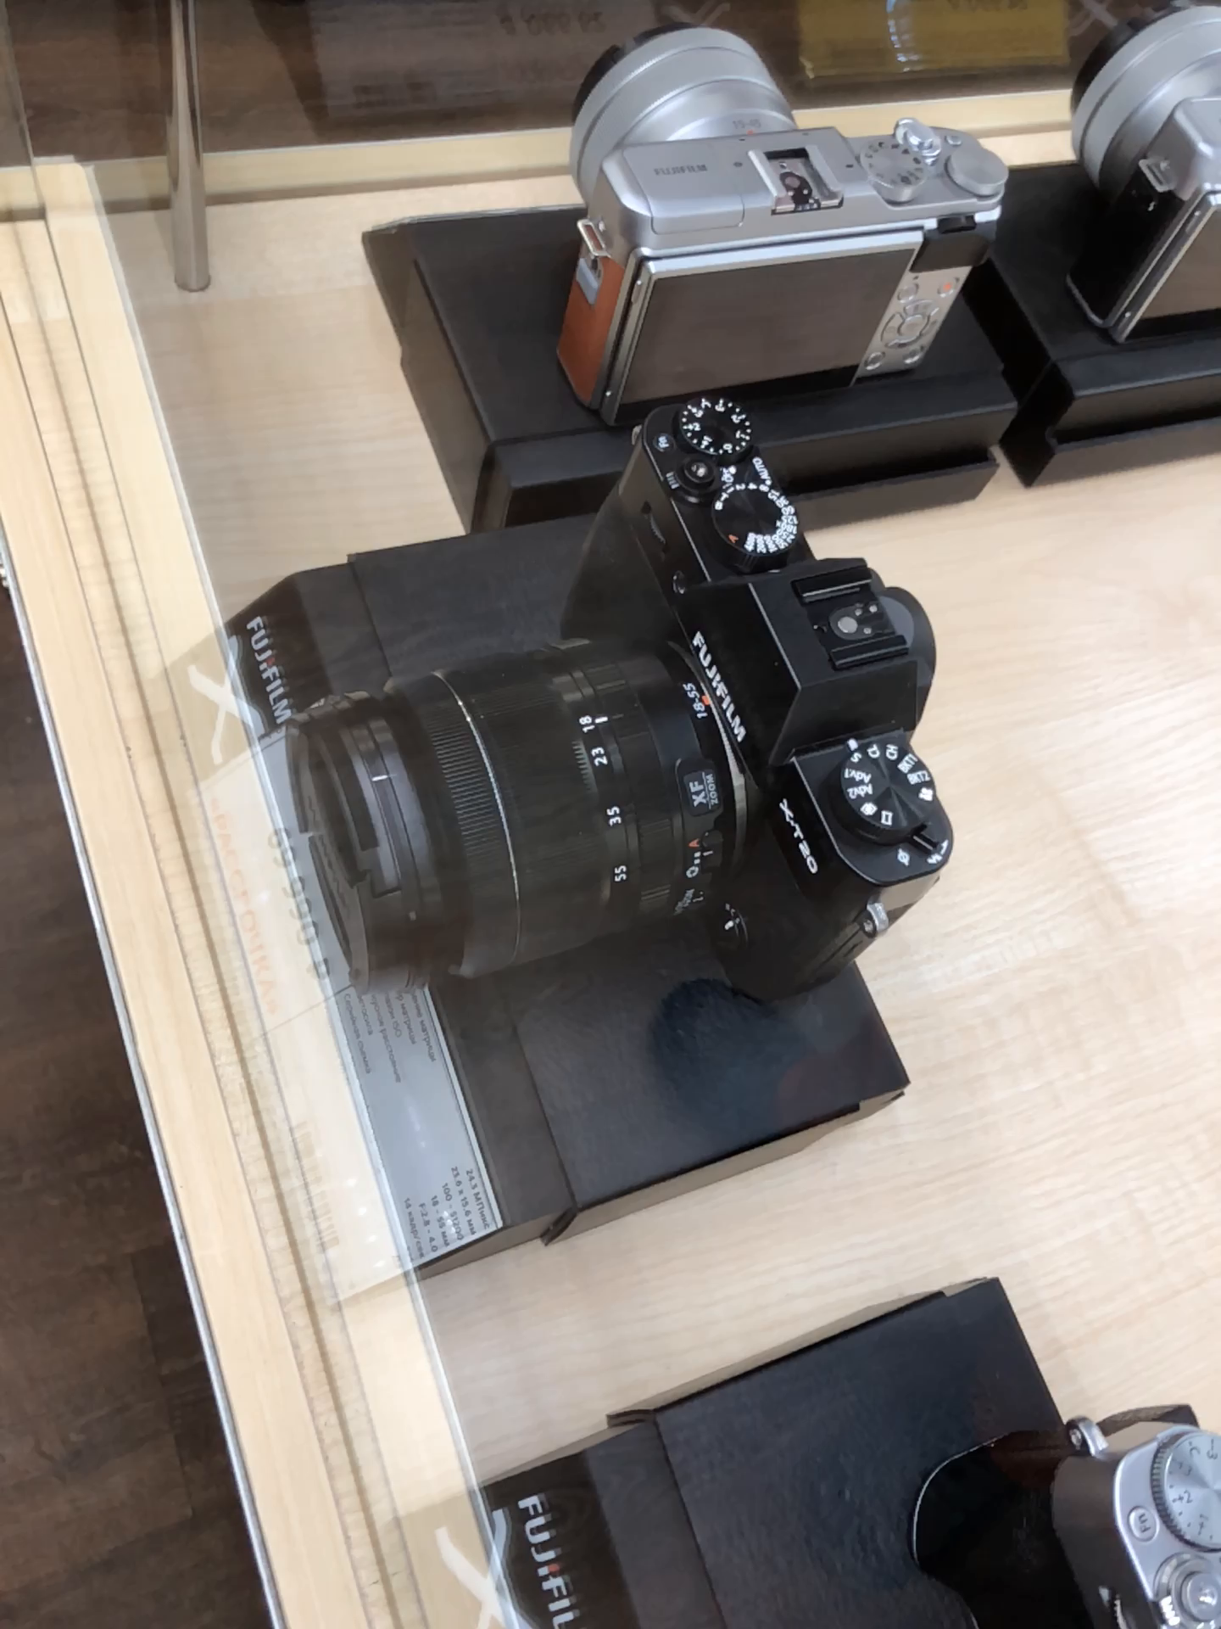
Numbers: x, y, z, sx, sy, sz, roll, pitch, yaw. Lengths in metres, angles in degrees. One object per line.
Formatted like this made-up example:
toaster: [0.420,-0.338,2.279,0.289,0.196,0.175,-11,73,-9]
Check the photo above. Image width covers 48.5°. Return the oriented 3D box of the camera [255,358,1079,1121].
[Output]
camera: [0.002,-0.019,0.296,0.130,0.080,0.122,-12,68,-19]

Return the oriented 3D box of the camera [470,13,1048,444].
camera: [0.036,-0.158,0.363,0.122,0.064,0.074,-15,68,-20]

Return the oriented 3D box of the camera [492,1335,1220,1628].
camera: [0.066,0.171,0.208,0.124,0.072,0.130,-14,68,-20]
